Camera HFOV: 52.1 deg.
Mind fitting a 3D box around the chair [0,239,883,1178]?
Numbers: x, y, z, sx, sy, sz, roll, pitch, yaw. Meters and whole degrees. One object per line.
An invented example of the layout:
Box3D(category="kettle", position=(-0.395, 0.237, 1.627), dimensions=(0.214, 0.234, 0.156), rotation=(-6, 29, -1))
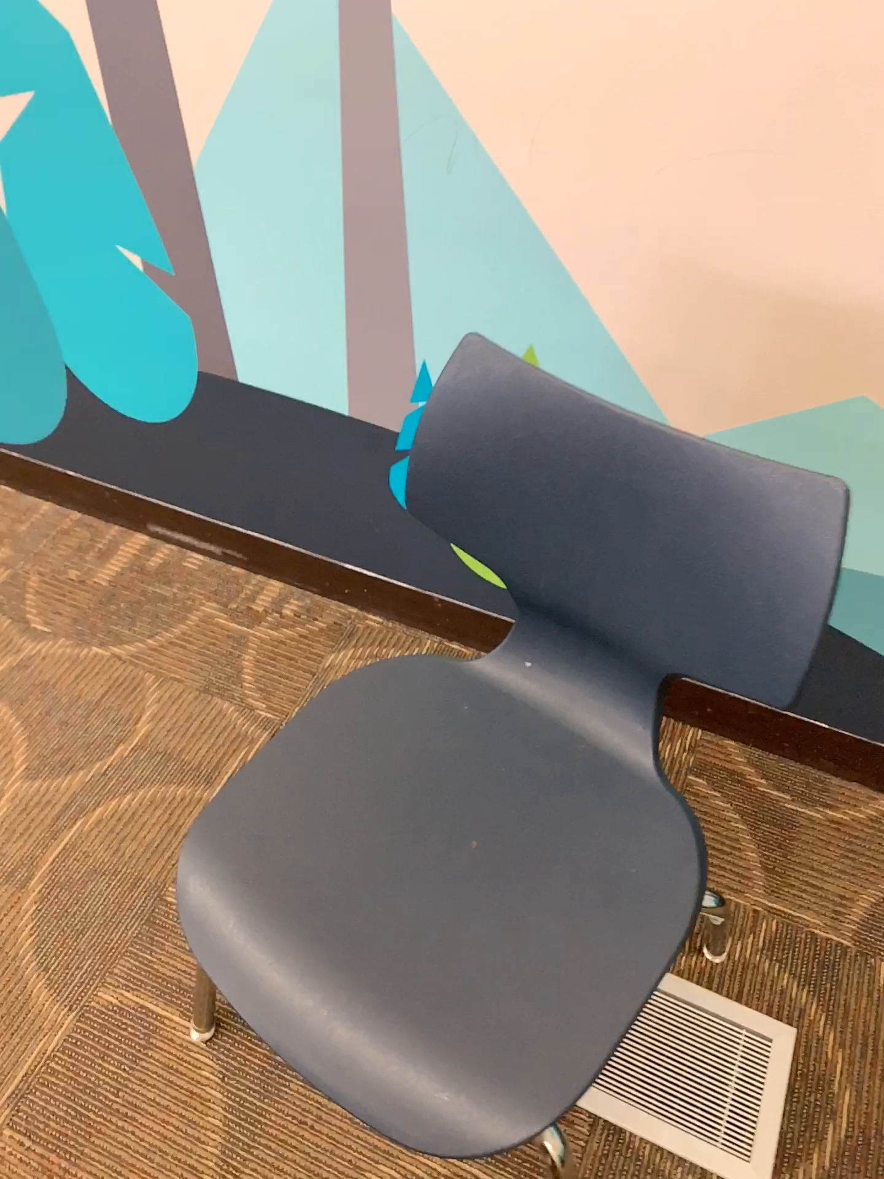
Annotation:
Box3D(category="chair", position=(0.029, 0.209, 0.873), dimensions=(0.571, 0.747, 0.582), rotation=(28, 52, 24))
